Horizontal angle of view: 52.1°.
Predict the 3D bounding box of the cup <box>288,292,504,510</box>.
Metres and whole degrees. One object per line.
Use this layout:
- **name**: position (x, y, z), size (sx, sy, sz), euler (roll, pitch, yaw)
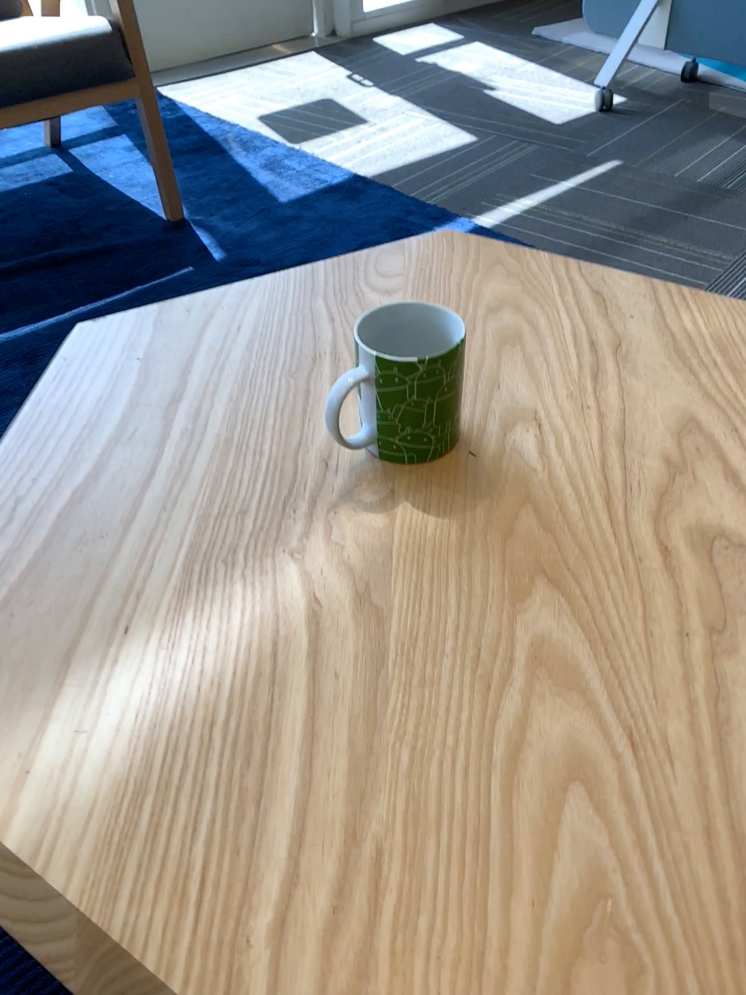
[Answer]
- **cup**: position (0.017, -0.074, 0.560), size (0.120, 0.090, 0.090), euler (-29, 49, -25)
